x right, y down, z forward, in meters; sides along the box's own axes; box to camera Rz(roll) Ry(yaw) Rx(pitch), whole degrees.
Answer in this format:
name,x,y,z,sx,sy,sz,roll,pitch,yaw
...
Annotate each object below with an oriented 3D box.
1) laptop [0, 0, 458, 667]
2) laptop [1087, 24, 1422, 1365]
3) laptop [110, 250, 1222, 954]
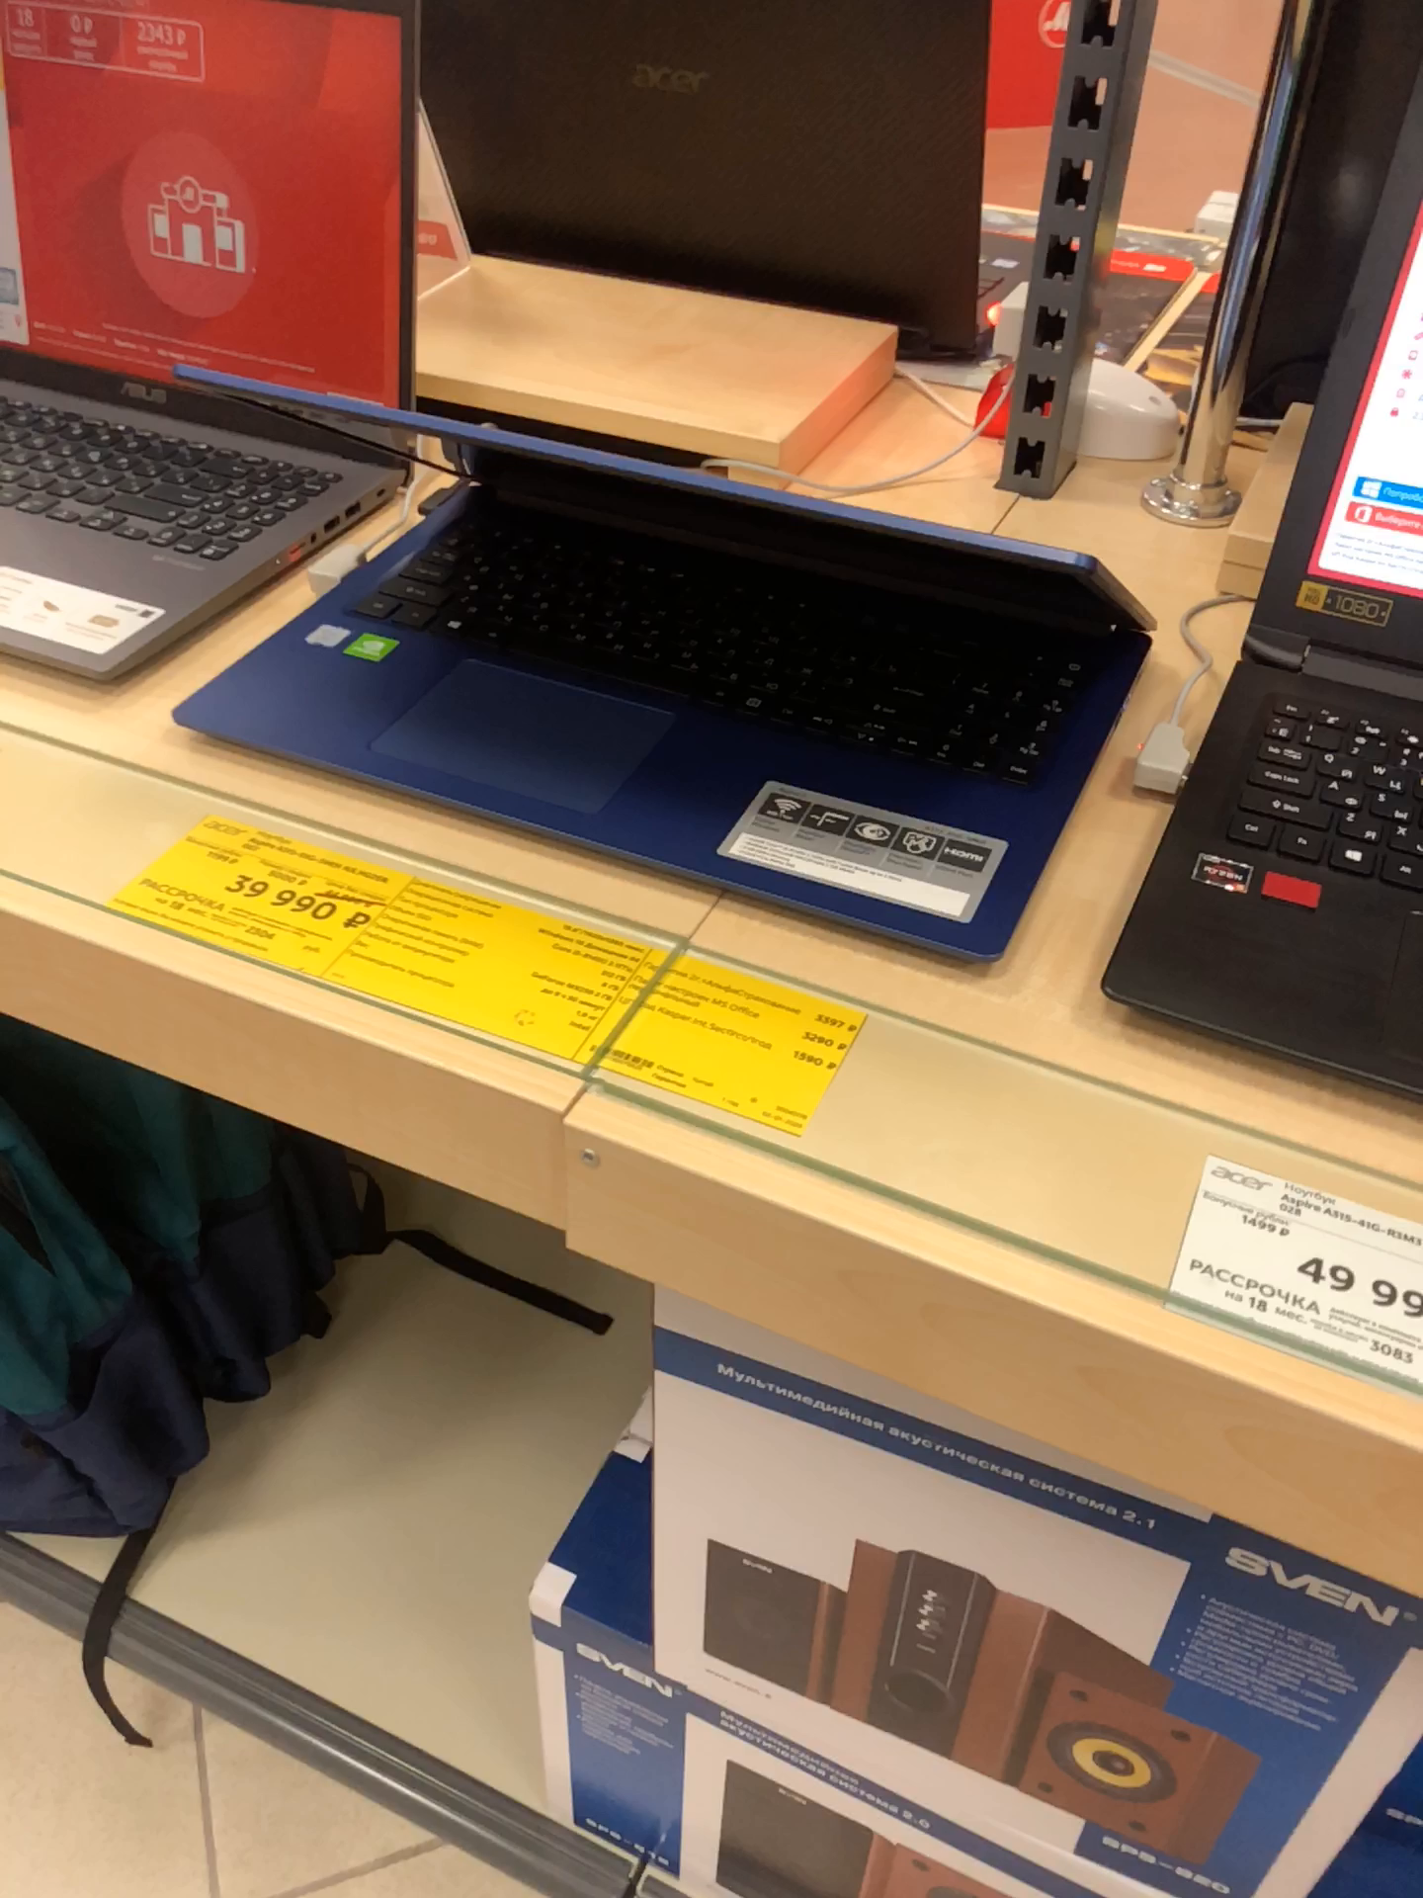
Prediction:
name,x,y,z,sx,sy,sz,roll,pitch,yaw
laptop,-0.387,-0.358,0.794,0.390,0.206,0.303,18,45,18
laptop,0.377,-0.132,0.519,0.358,0.227,0.355,19,44,21
laptop,-0.011,-0.170,0.655,0.367,0.126,0.246,17,43,20
